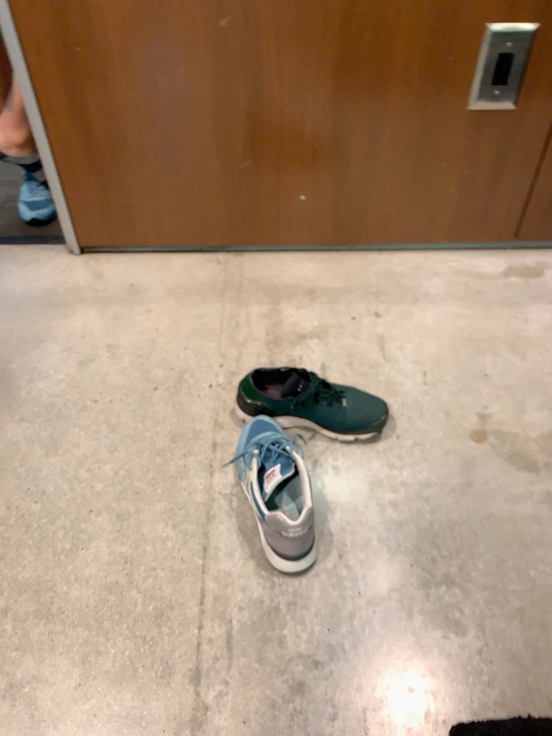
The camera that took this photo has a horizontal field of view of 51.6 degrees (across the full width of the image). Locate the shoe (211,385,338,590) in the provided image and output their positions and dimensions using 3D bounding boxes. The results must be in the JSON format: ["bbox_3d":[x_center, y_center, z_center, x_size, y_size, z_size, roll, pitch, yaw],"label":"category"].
[{"bbox_3d":[-0.013,0.187,0.968,0.130,0.090,0.322,-11,47,-10],"label":"shoe"}]

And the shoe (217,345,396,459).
[{"bbox_3d":[0.061,0.062,1.128,0.320,0.090,0.141,11,47,11],"label":"shoe"}]
